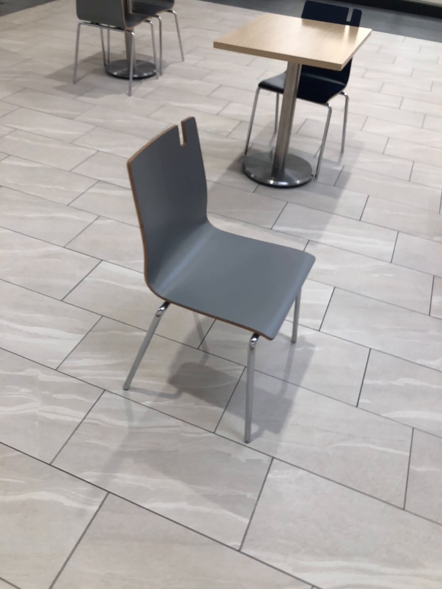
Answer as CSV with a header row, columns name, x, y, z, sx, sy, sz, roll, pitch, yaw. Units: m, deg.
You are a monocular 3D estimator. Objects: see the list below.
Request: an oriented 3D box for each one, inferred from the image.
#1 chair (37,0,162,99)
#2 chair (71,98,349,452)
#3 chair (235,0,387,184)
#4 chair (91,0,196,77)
name,x,y,z,sx,sy,sz,roll,pitch,yaw
chair,-0.767,-1.811,3.274,0.574,0.707,0.538,14,42,10
chair,-0.023,-0.057,1.464,0.515,0.787,0.527,19,43,15
chair,0.466,-1.139,2.664,0.514,0.777,0.538,24,44,20
chair,-0.561,-2.146,3.671,0.554,0.737,0.488,19,43,15
